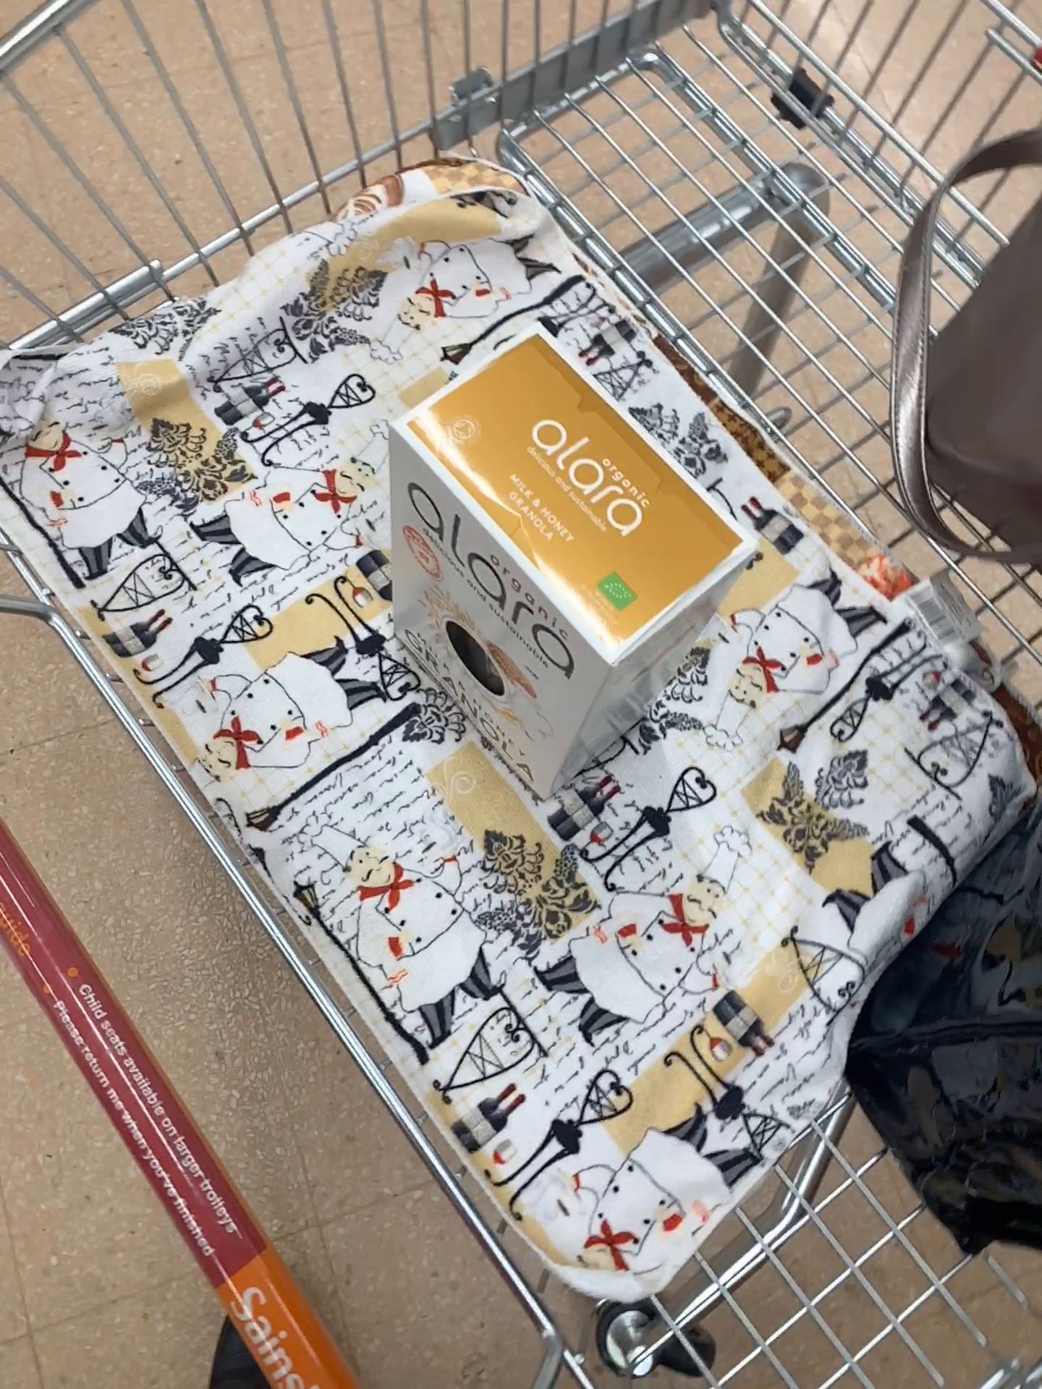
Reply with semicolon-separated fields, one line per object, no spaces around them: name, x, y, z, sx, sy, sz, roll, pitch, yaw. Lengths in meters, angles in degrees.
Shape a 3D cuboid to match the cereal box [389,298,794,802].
cereal box;0.015;-0.045;0.460;0.080;0.199;0.120;-40;80;-17
